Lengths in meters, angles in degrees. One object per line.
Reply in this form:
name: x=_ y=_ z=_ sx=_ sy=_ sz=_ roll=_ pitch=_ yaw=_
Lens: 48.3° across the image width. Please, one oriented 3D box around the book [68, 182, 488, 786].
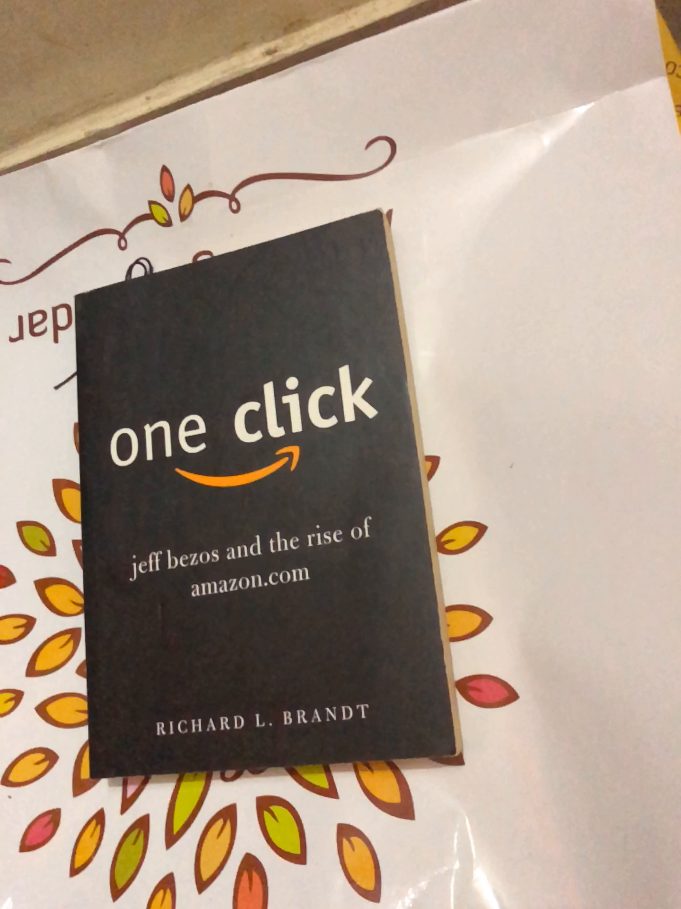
book: x=-0.039 y=0.010 z=0.315 sx=0.160 sy=0.020 sz=0.220 roll=-13 pitch=71 yaw=17
